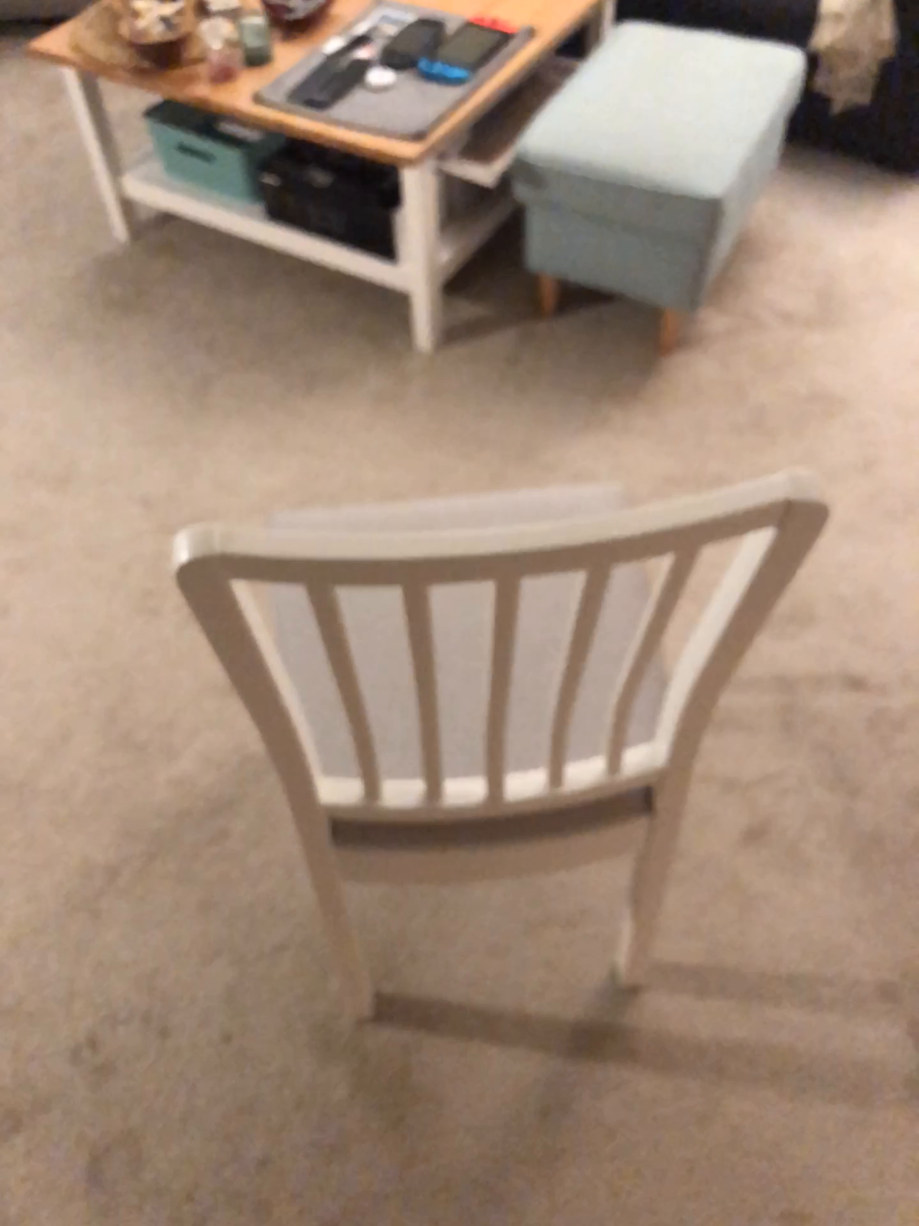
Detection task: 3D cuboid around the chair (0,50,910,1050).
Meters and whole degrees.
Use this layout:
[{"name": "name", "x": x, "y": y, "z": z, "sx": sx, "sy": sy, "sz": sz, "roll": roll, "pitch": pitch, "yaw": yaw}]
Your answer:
[{"name": "chair", "x": -0.009, "y": 0.022, "z": 1.082, "sx": 0.500, "sy": 0.905, "sz": 0.553, "roll": -4, "pitch": 52, "yaw": -1}]
